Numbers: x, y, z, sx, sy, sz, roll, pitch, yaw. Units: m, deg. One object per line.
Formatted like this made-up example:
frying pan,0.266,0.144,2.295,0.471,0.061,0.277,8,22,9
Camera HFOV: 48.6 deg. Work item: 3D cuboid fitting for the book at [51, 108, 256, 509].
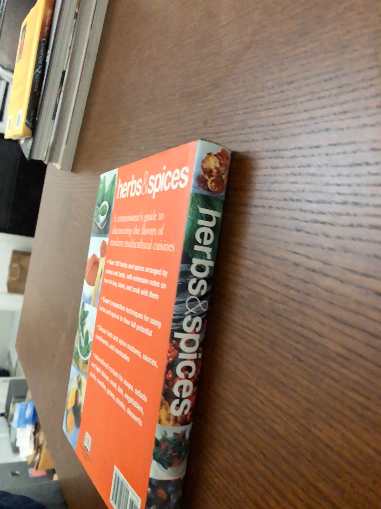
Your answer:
book,-0.049,0.046,0.342,0.211,0.040,0.270,7,88,60
